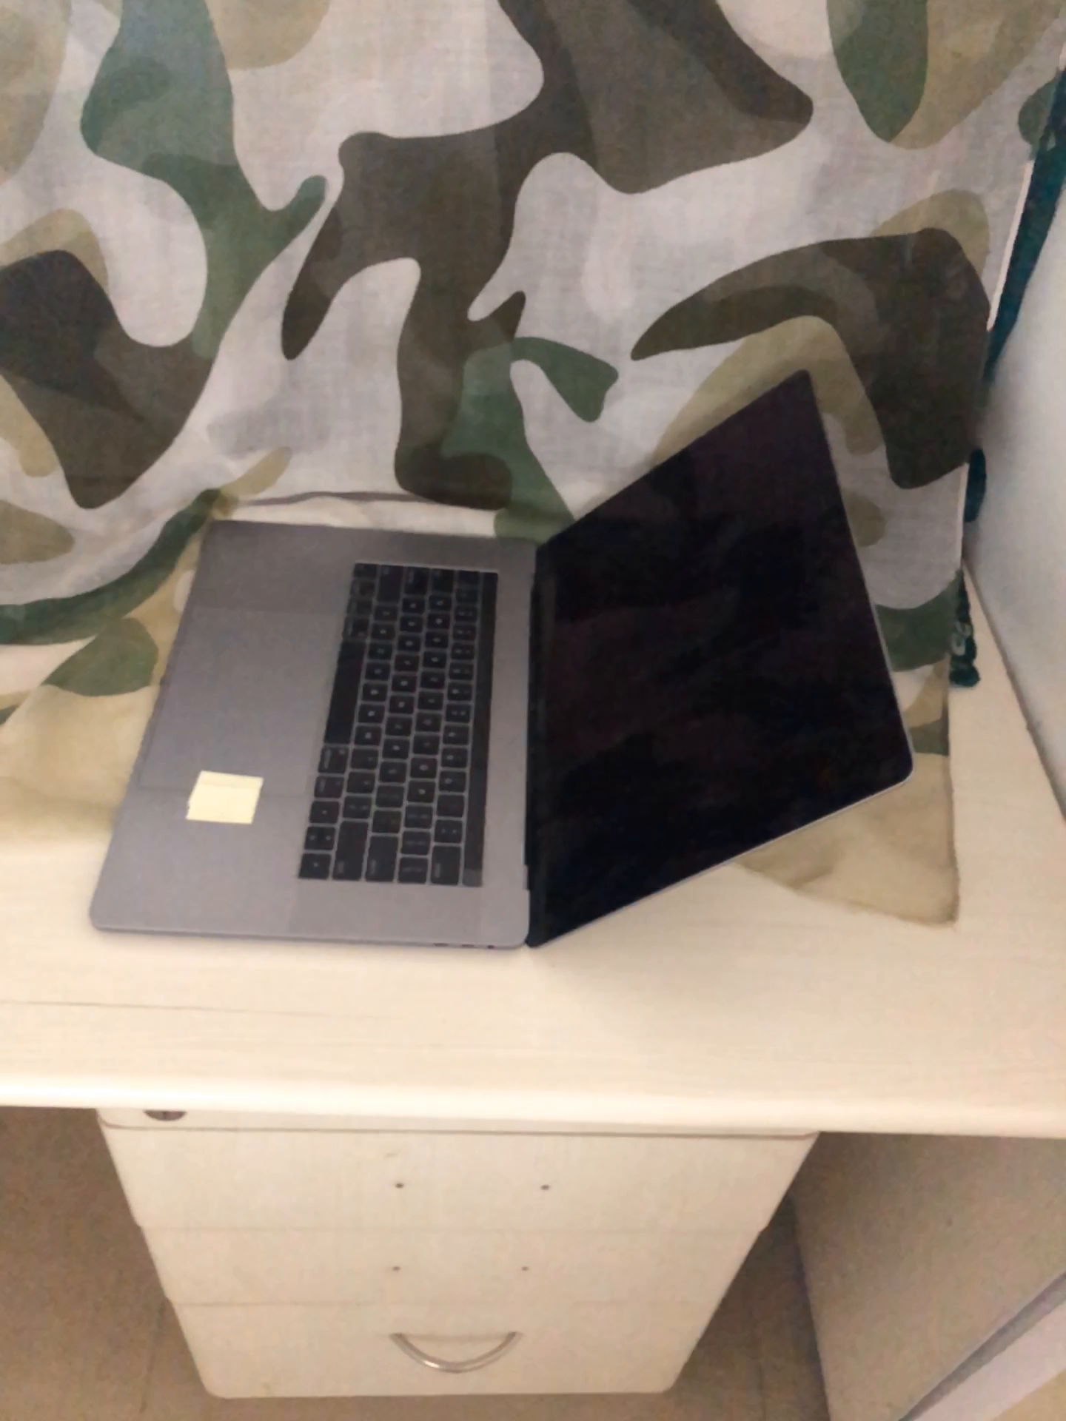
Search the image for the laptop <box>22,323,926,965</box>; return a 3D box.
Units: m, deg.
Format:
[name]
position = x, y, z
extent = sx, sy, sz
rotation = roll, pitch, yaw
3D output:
[laptop]
position = -0.030, -0.054, 0.702
extent = 0.402, 0.165, 0.343
rotation = 3, 46, -2
